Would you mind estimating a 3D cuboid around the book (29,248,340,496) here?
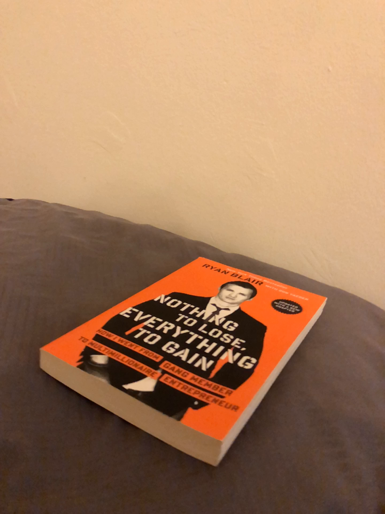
[{"bbox_3d":[0.015,0.057,0.341,0.150,0.020,0.231,22,27,25],"label":"book"}]
